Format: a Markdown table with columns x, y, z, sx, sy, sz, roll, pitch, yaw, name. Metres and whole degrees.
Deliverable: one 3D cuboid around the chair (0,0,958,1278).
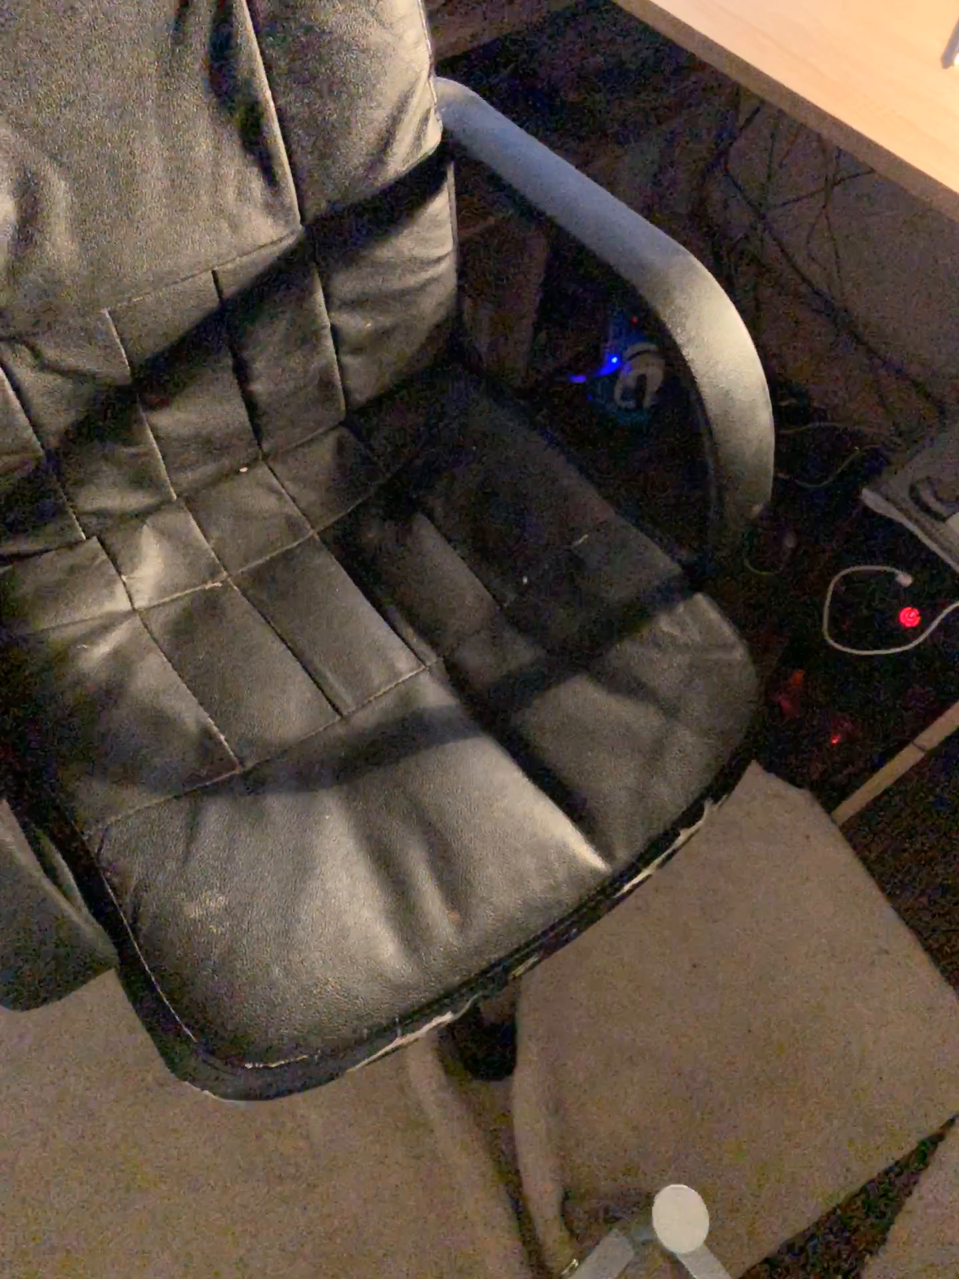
| x | y | z | sx | sy | sz | roll | pitch | yaw | name |
| --- | --- | --- | --- | --- | --- | --- | --- | --- | --- |
| -0.087 | -0.050 | 0.756 | 0.712 | 1.162 | 0.652 | -34 | 64 | -20 | chair |
